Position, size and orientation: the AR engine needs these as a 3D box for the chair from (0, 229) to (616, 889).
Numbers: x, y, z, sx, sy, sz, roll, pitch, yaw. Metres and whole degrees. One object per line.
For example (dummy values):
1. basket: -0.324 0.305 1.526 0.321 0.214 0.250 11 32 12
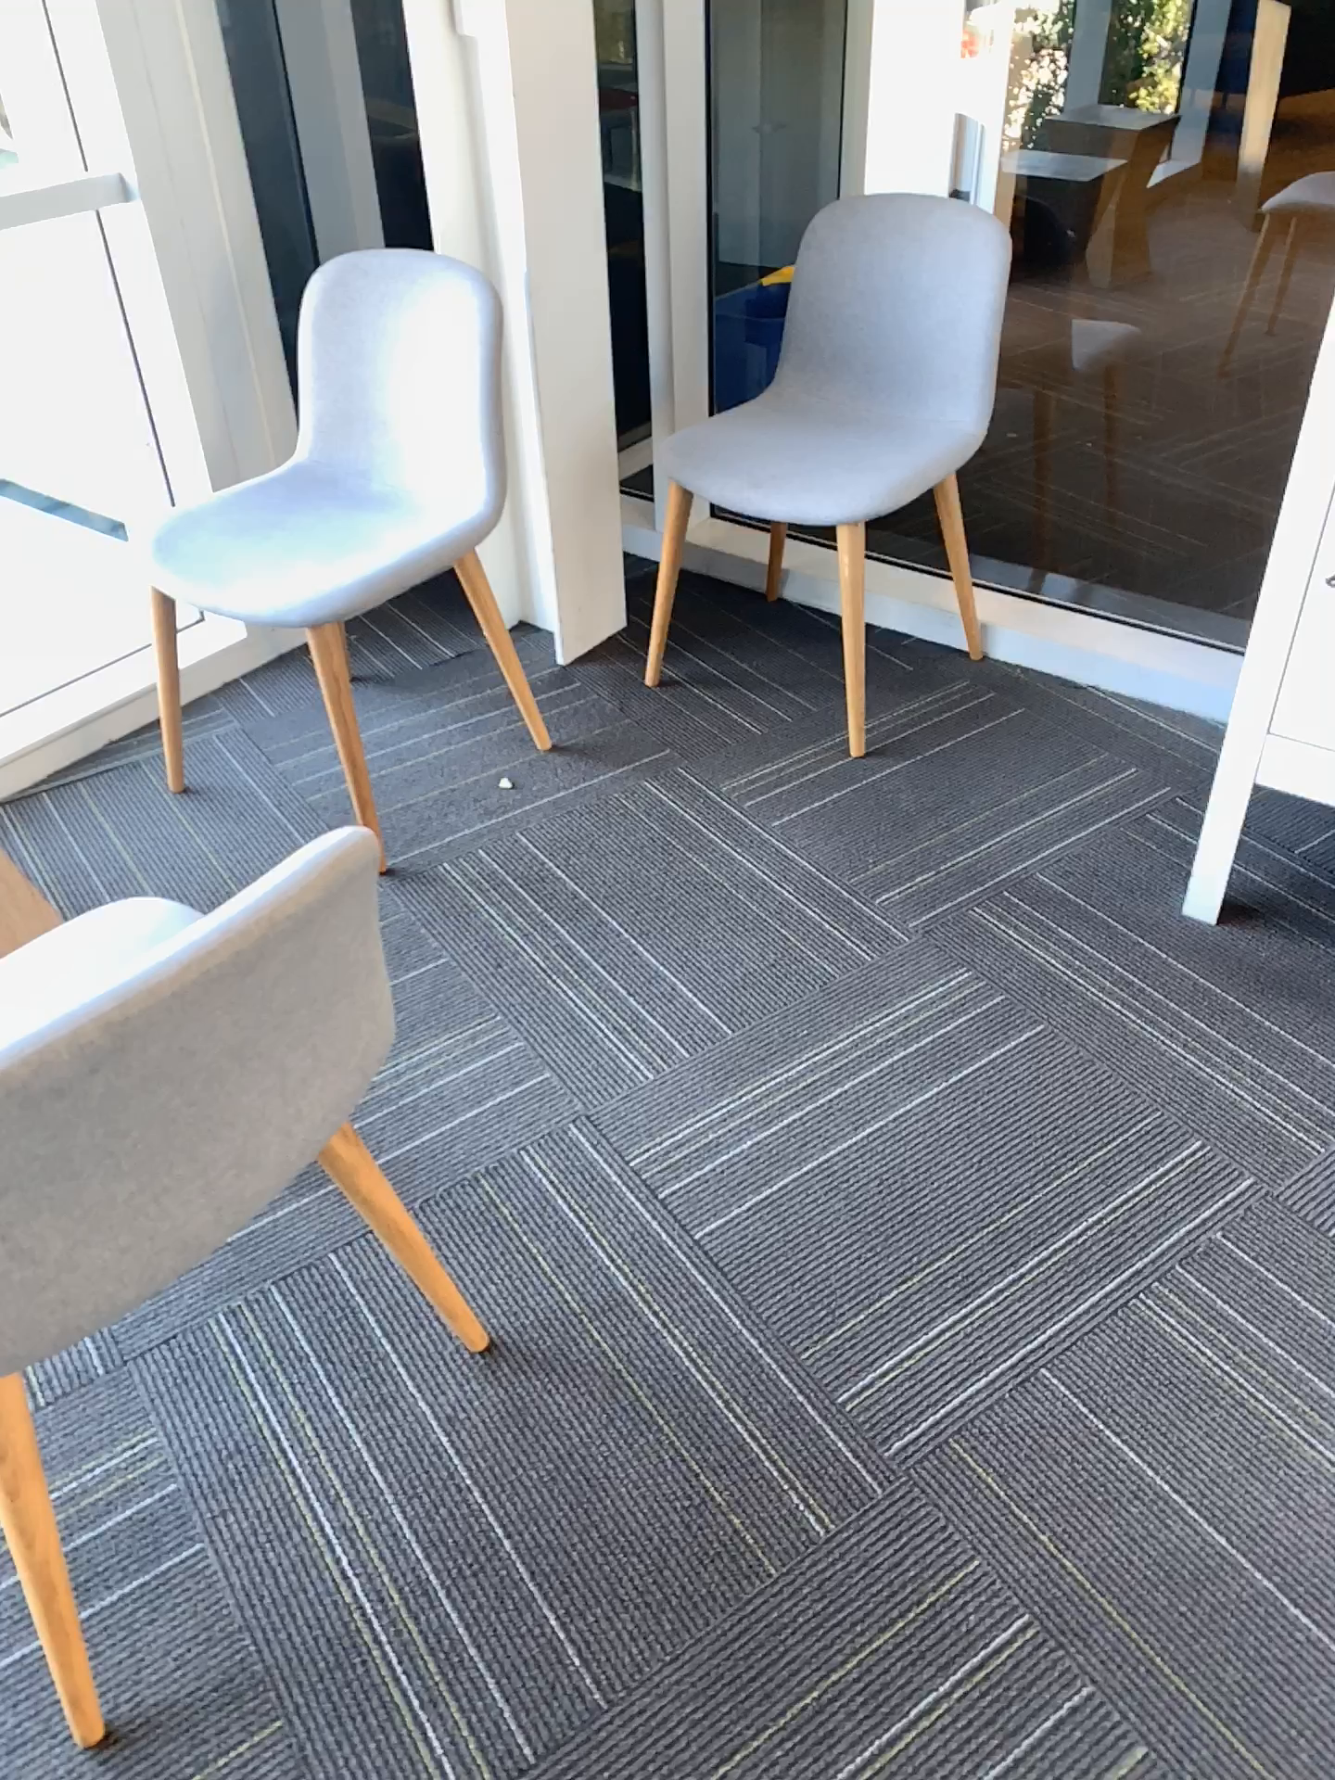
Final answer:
1. chair: -0.534 -0.557 2.171 0.642 0.745 0.602 21 43 27

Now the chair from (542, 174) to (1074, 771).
1. chair: 0.245 -0.766 2.411 0.642 0.765 0.602 21 43 27

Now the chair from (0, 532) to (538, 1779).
1. chair: -0.554 0.215 1.177 0.602 0.765 0.562 23 44 28
